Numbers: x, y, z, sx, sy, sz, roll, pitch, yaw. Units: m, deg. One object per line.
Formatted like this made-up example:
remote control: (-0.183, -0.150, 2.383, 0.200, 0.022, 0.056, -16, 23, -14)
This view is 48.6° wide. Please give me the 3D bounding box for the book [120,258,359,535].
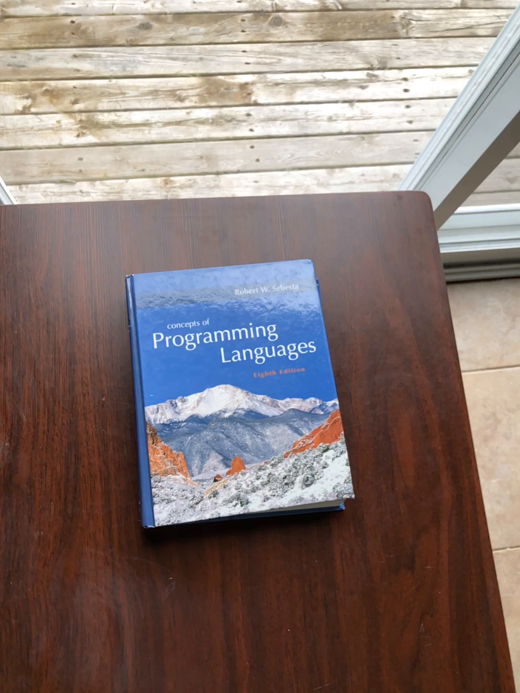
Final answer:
book: (-0.024, 0.041, 0.541, 0.195, 0.049, 0.236, -4, 76, -7)
